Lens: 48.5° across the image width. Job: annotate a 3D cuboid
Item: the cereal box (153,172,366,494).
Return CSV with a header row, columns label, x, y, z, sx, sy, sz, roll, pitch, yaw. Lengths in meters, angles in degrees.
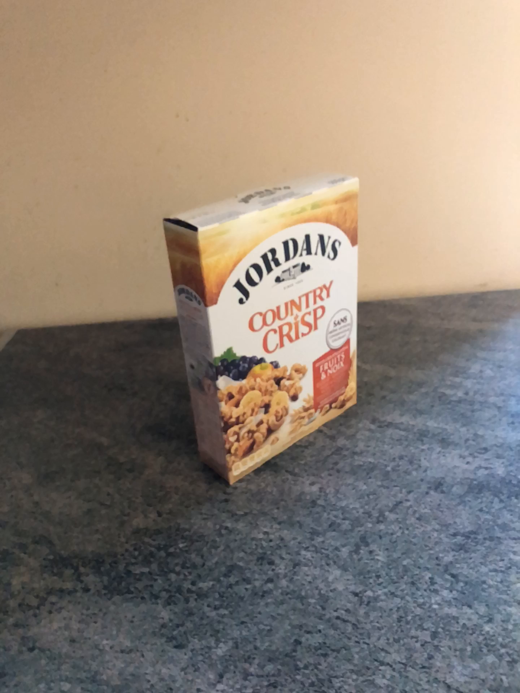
label,x,y,z,sx,sy,sz,roll,pitch,yaw
cereal box,0.012,-0.018,0.546,0.191,0.249,0.060,-25,35,-36
